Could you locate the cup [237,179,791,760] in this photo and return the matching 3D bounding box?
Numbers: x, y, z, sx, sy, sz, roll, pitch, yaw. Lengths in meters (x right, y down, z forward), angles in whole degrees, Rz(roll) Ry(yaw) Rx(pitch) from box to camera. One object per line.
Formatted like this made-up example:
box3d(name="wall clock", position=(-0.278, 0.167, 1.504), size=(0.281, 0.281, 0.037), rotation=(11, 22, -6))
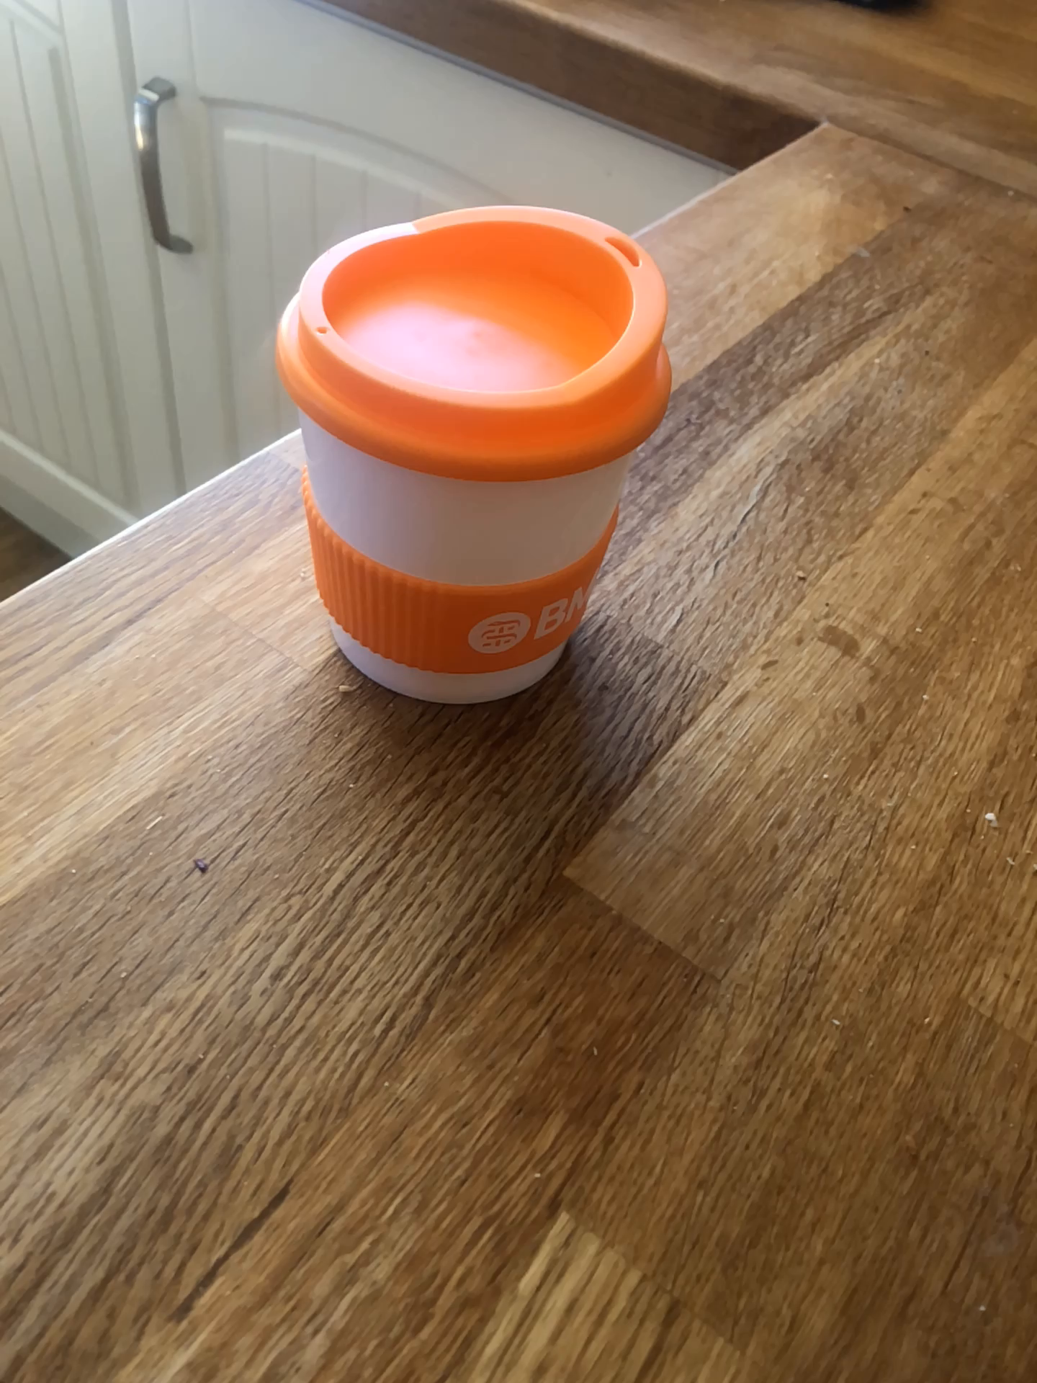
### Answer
box3d(name="cup", position=(-0.007, -0.055, 0.272), size=(0.089, 0.089, 0.081), rotation=(5, 46, -5))
